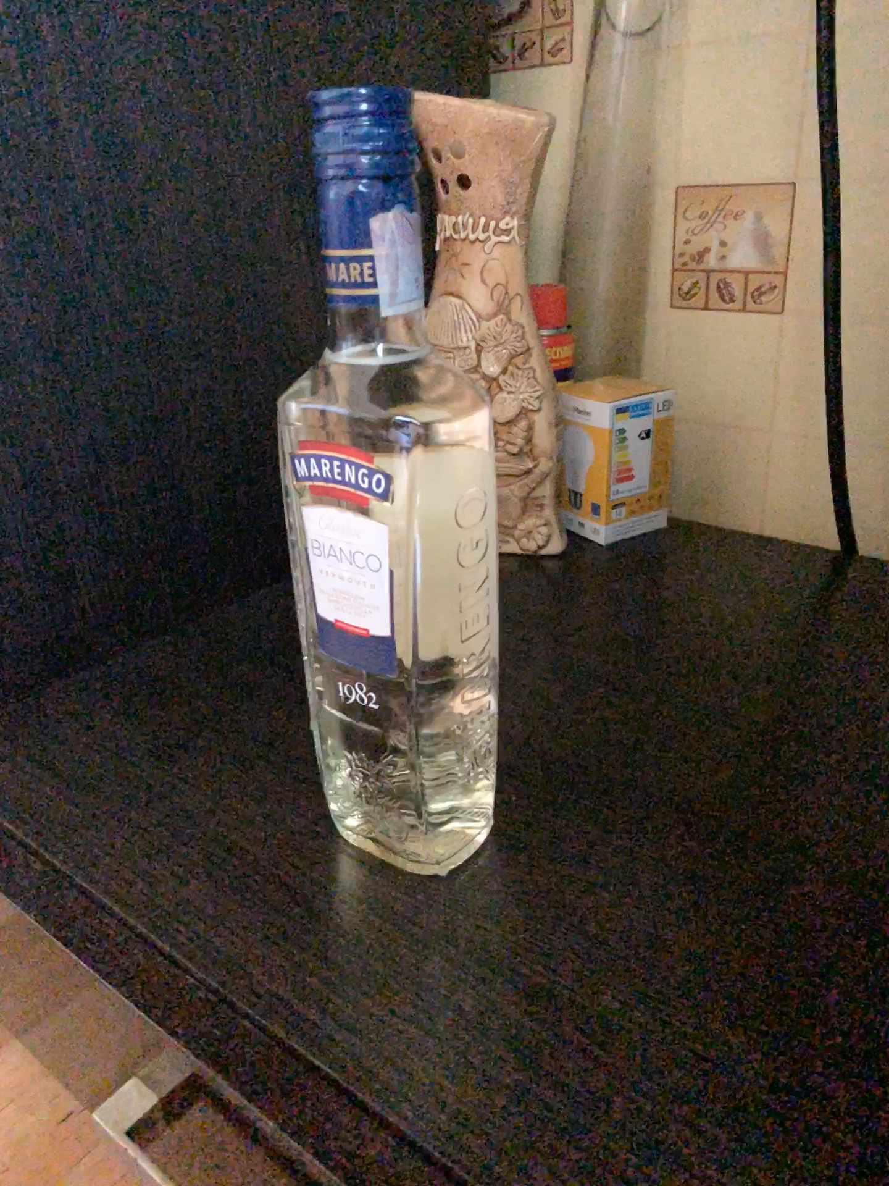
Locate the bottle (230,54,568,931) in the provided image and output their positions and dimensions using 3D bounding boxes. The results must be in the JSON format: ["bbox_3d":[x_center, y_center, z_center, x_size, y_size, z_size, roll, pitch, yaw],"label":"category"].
[{"bbox_3d":[-0.009,-0.023,0.332,0.090,0.289,0.050,16,31,36],"label":"bottle"}]
